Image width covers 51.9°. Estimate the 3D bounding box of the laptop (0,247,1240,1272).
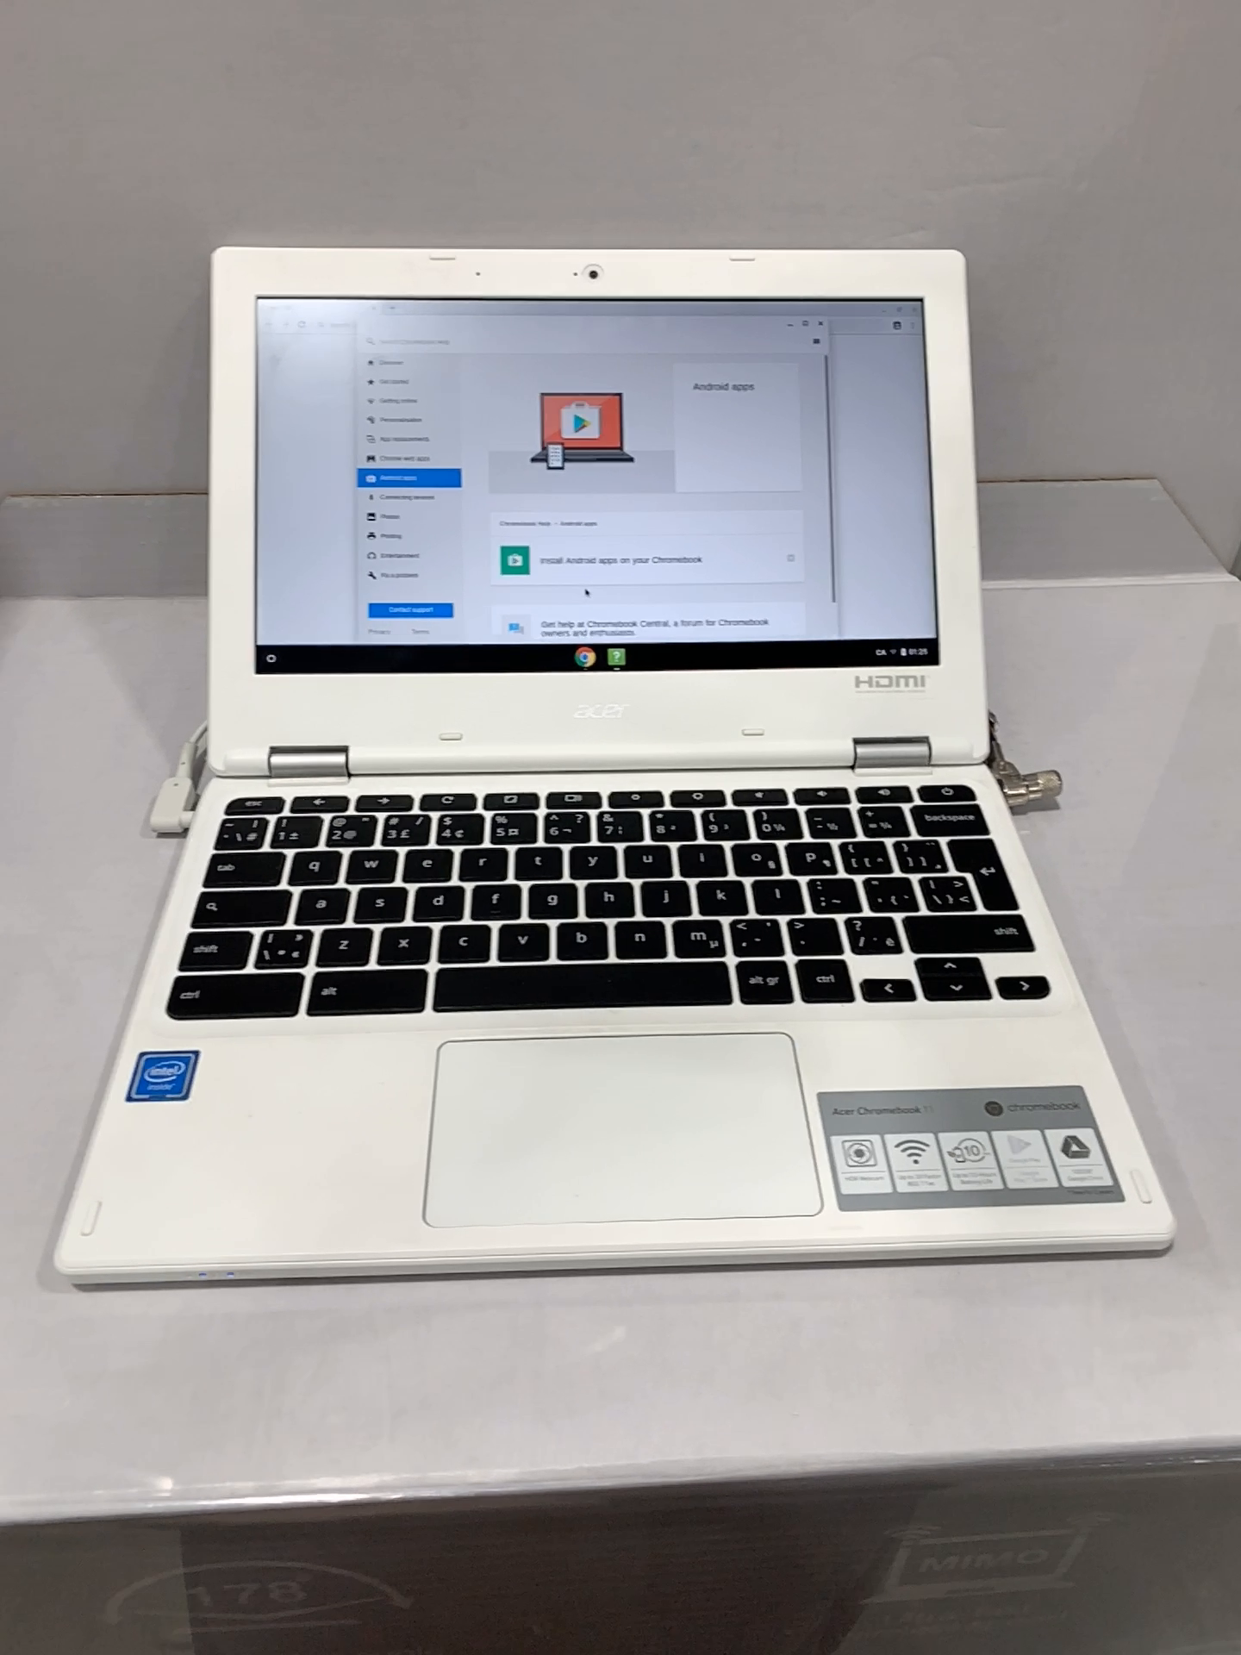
[{"bbox_3d":[-0.004,-0.054,0.400,0.282,0.132,0.330,-1,43,-2],"label":"laptop"}]
